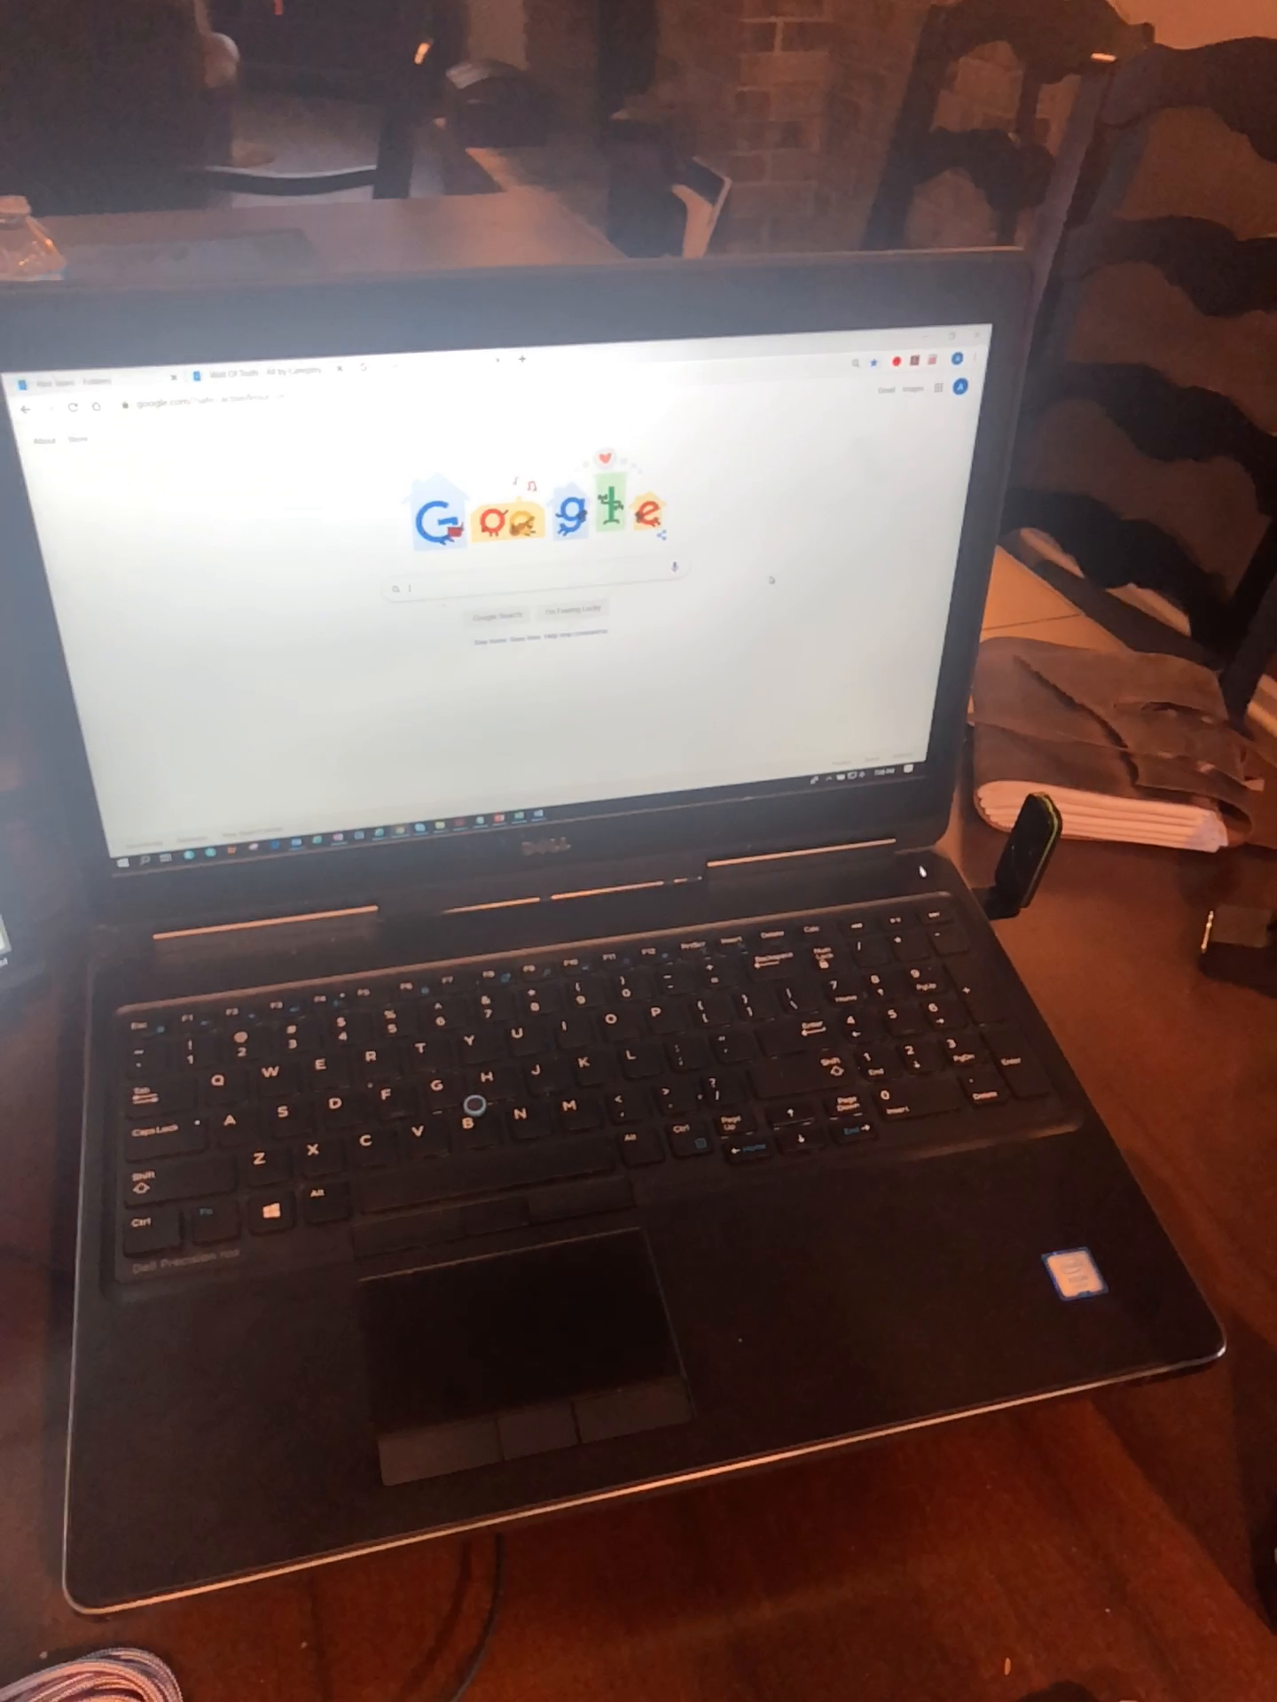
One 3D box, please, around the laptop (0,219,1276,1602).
[{"bbox_3d":[-0.007,-0.015,0.457,0.367,0.258,0.287,-7,40,-13],"label":"laptop"}]
